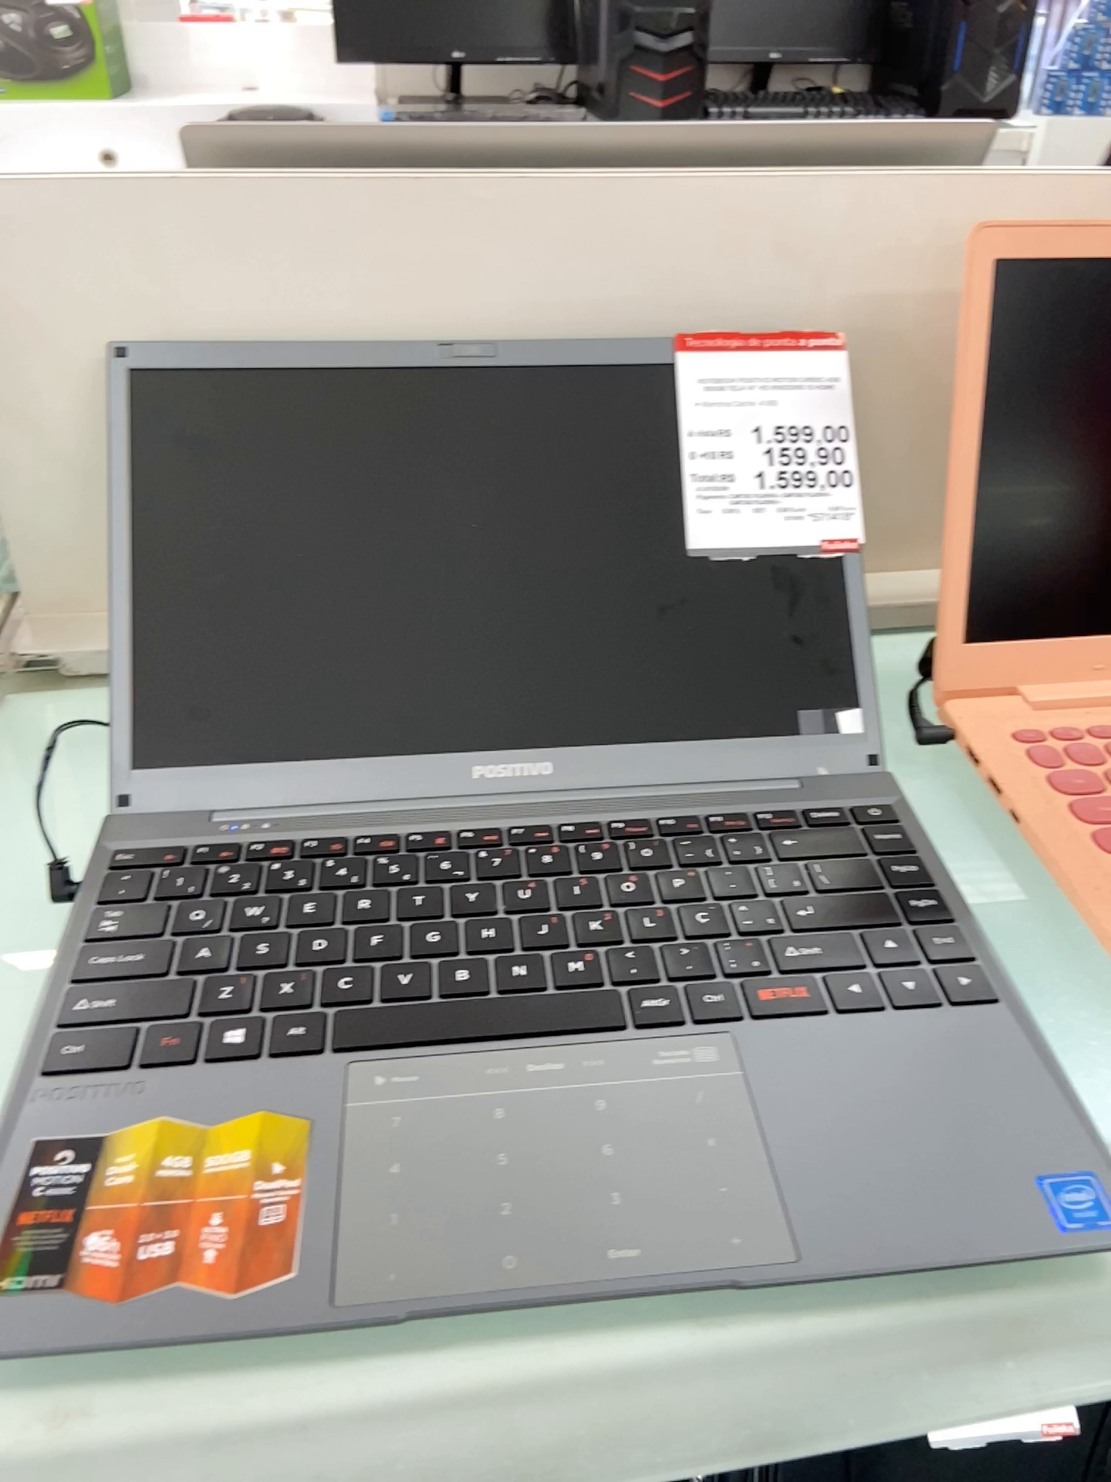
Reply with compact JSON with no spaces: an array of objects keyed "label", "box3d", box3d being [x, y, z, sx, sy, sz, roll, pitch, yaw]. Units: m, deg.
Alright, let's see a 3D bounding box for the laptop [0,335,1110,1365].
[{"label":"laptop","box3d":[-0.013,-0.017,0.413,0.333,0.144,0.368,-3,35,-5]}]
